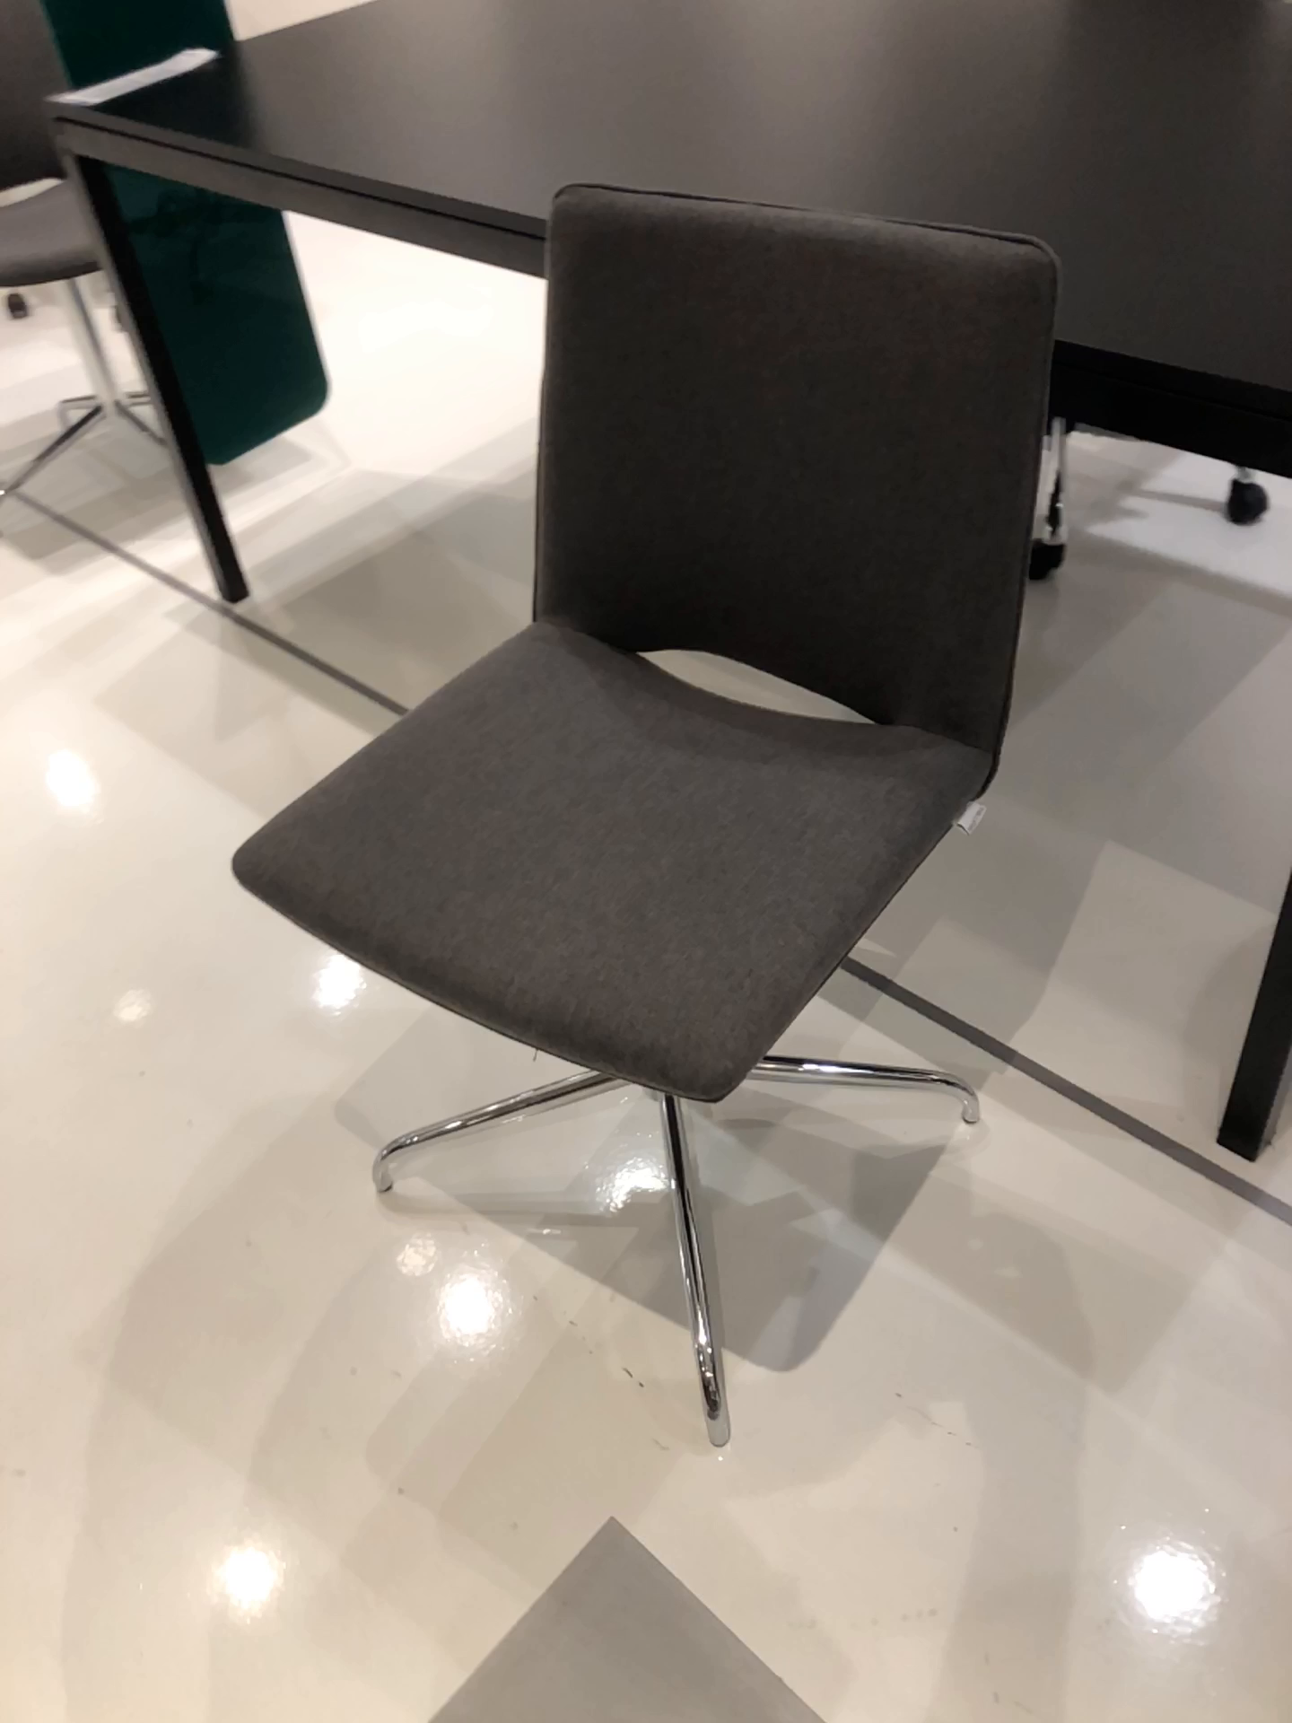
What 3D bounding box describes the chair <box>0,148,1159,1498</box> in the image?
[{"bbox_3d":[0.010,-0.035,1.168,0.521,0.834,0.553,21,49,28],"label":"chair"}]
